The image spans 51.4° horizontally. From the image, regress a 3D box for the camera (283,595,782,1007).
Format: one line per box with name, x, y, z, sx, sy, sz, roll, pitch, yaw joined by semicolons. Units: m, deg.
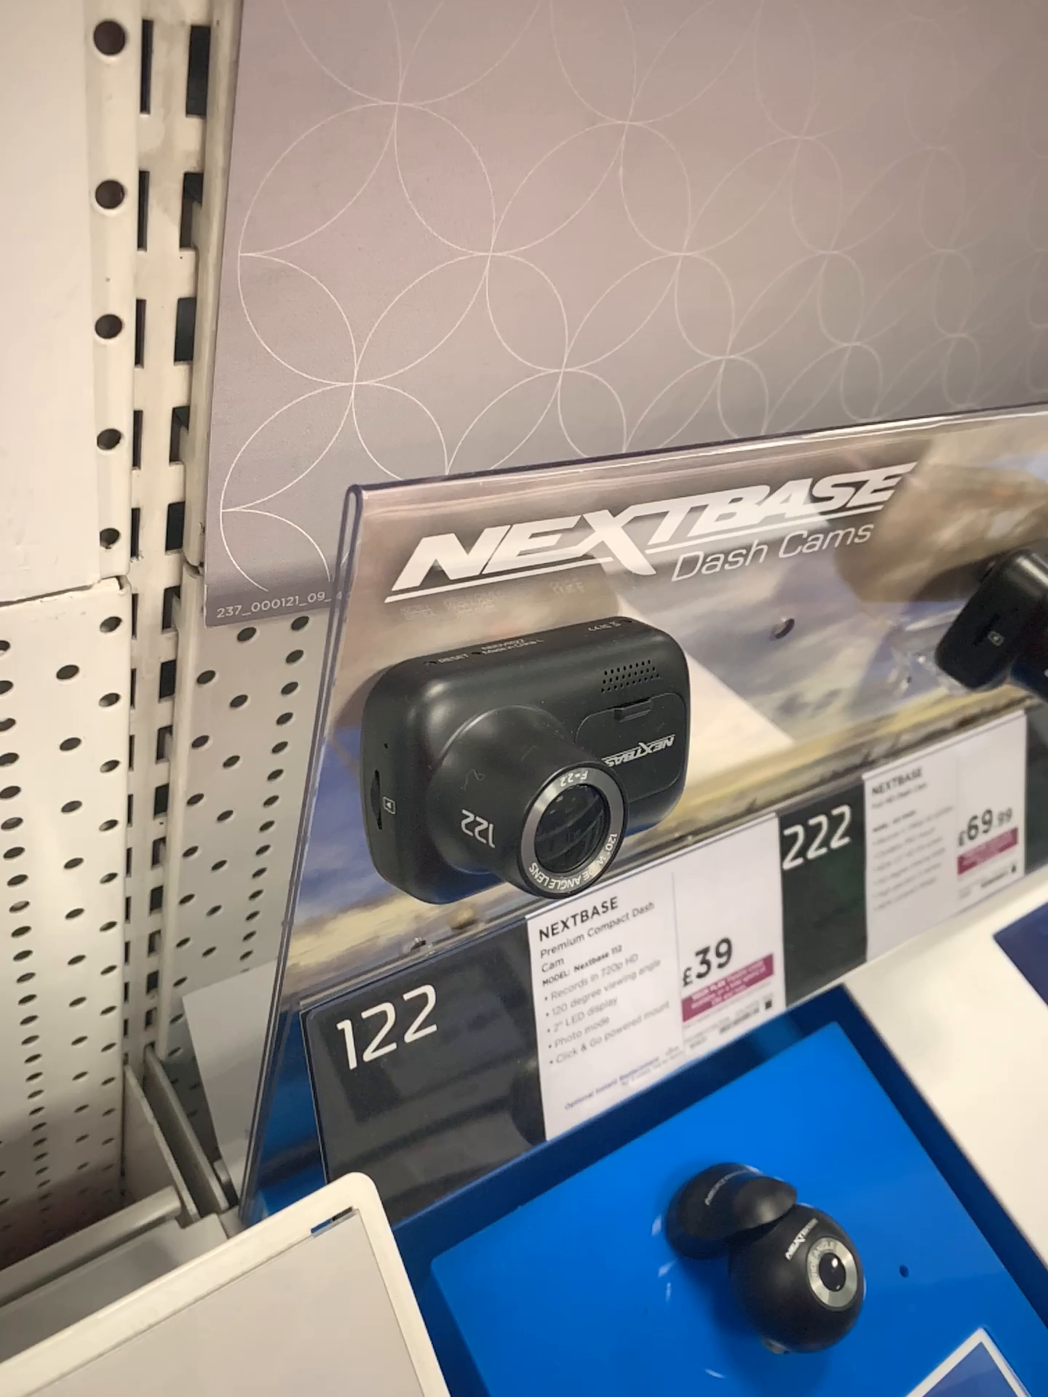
camera;0.001;0.014;0.225;0.080;0.050;0.060;-13;22;-32
